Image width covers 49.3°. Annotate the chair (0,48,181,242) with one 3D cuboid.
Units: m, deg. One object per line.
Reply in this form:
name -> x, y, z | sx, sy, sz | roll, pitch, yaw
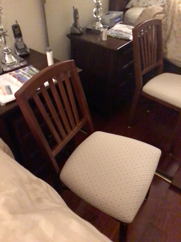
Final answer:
chair -> -0.001, 0.266, 1.122 | 0.690, 1.032, 0.624 | 19, 43, 20
